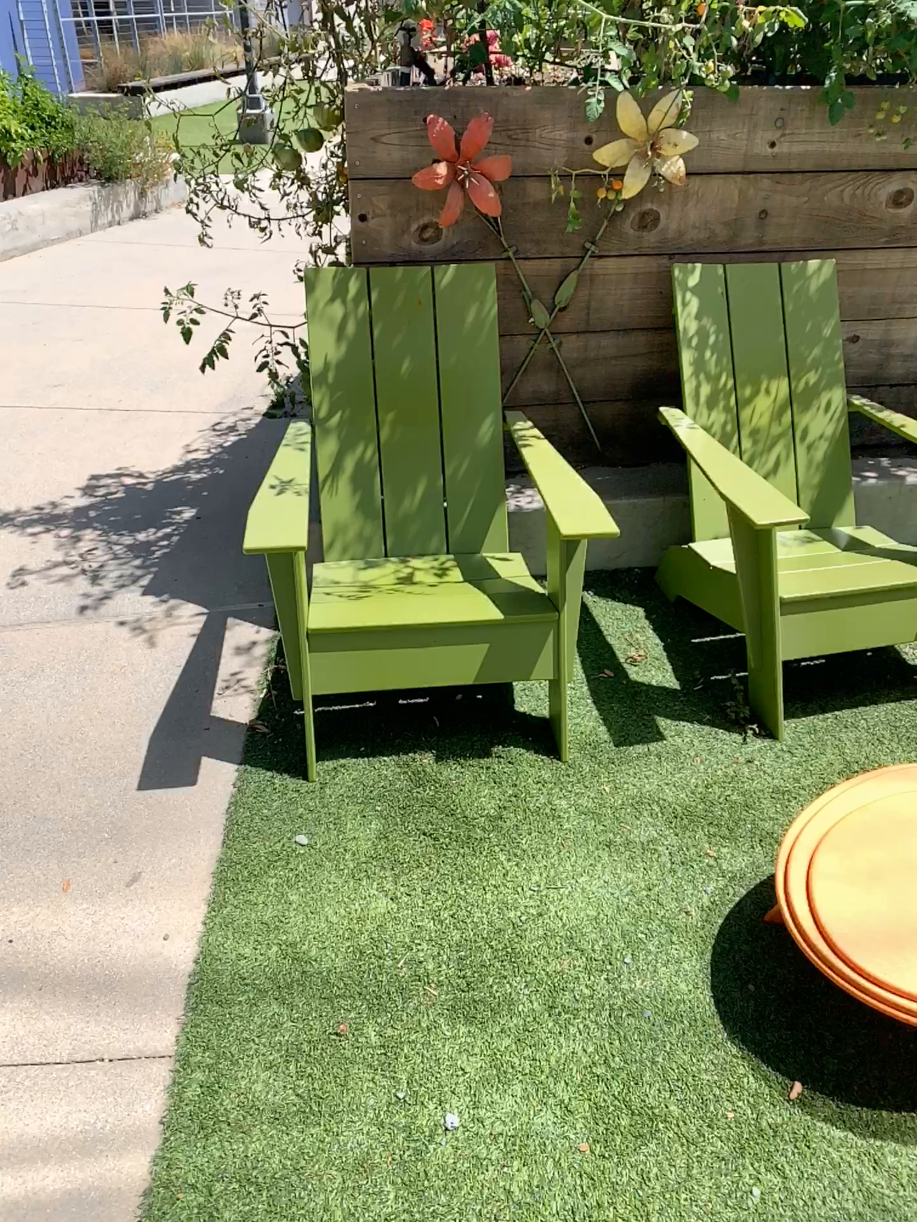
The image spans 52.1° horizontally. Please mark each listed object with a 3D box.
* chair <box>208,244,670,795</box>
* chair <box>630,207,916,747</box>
[{"bbox_3d":[-0.074,-0.264,1.961,0.680,0.835,0.905,-3,27,-6],"label":"chair"},{"bbox_3d":[0.875,-0.361,2.236,0.680,0.986,0.894,-6,18,-4],"label":"chair"}]
